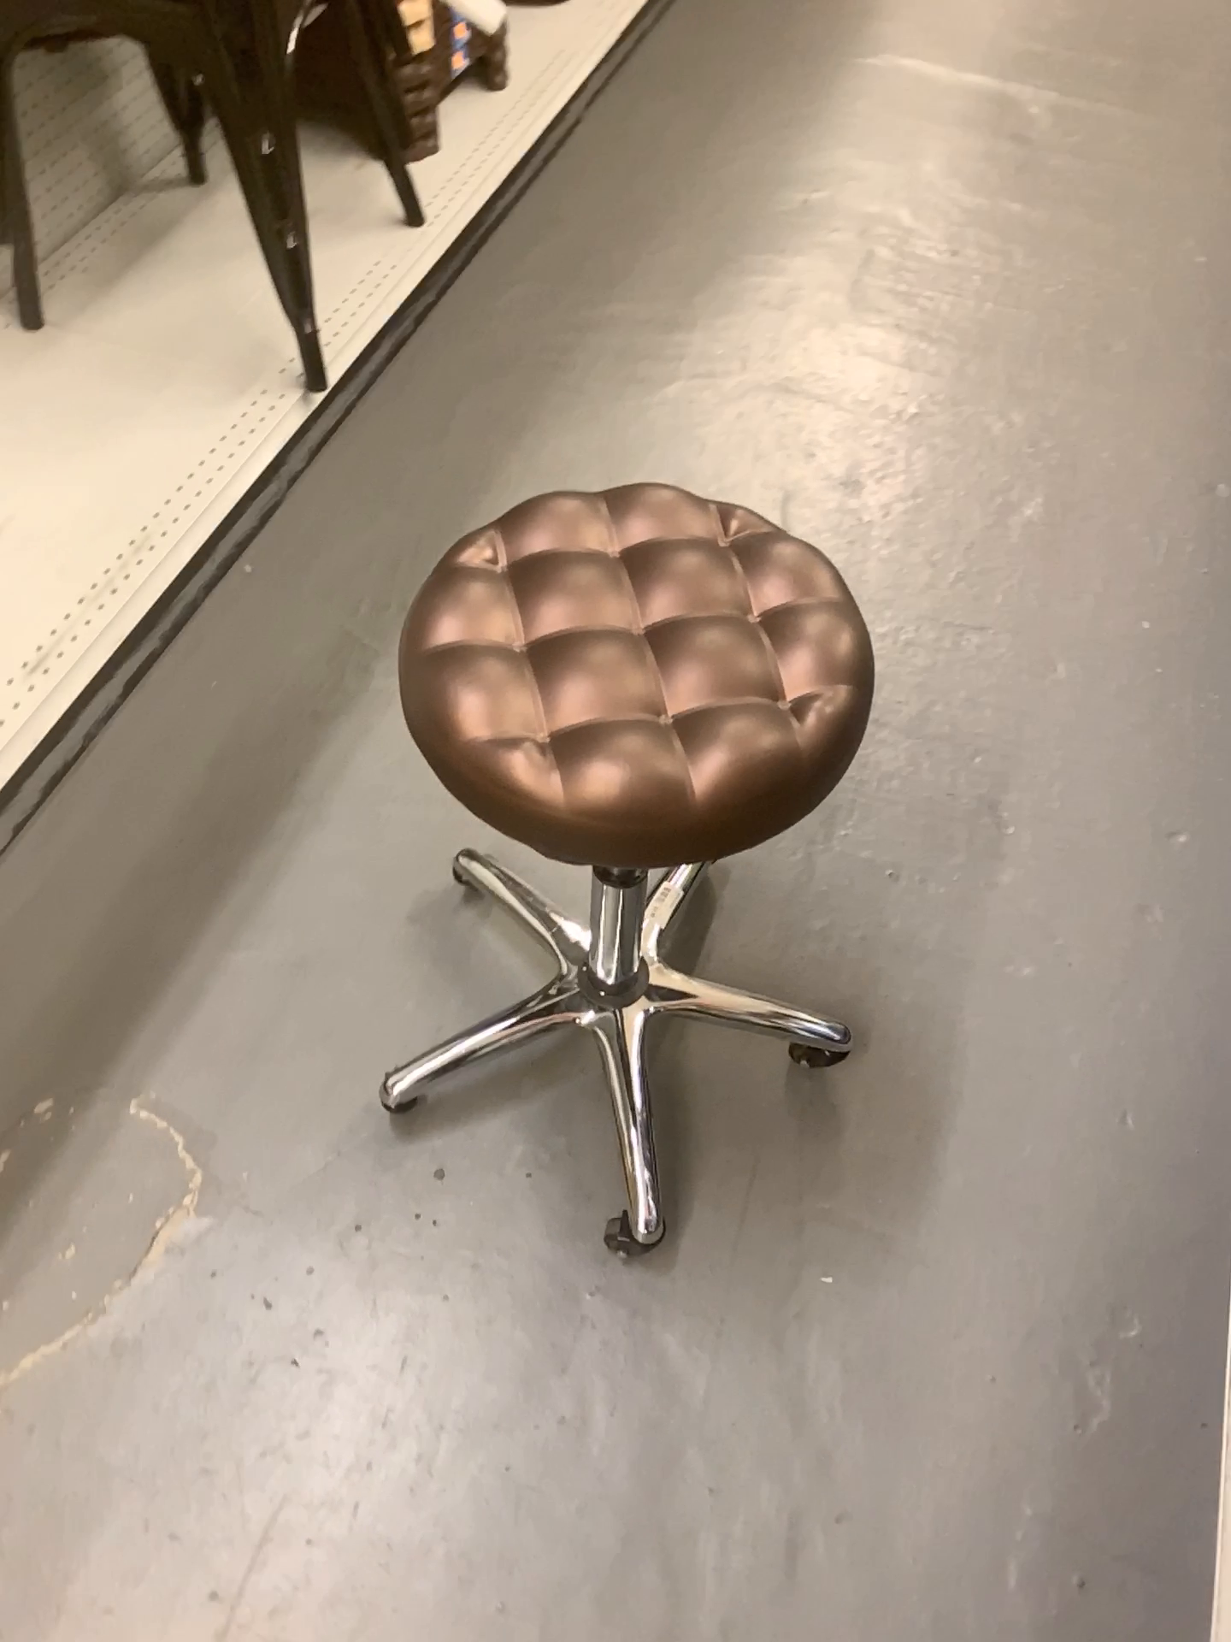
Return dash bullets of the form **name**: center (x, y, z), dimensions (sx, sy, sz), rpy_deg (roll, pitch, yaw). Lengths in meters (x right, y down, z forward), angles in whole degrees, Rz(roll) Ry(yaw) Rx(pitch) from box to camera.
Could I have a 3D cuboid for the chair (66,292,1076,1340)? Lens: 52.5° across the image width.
- **chair**: center (0.002, 0.013, 1.042), dimensions (0.501, 0.575, 0.513), rpy_deg (18, 55, 11)
